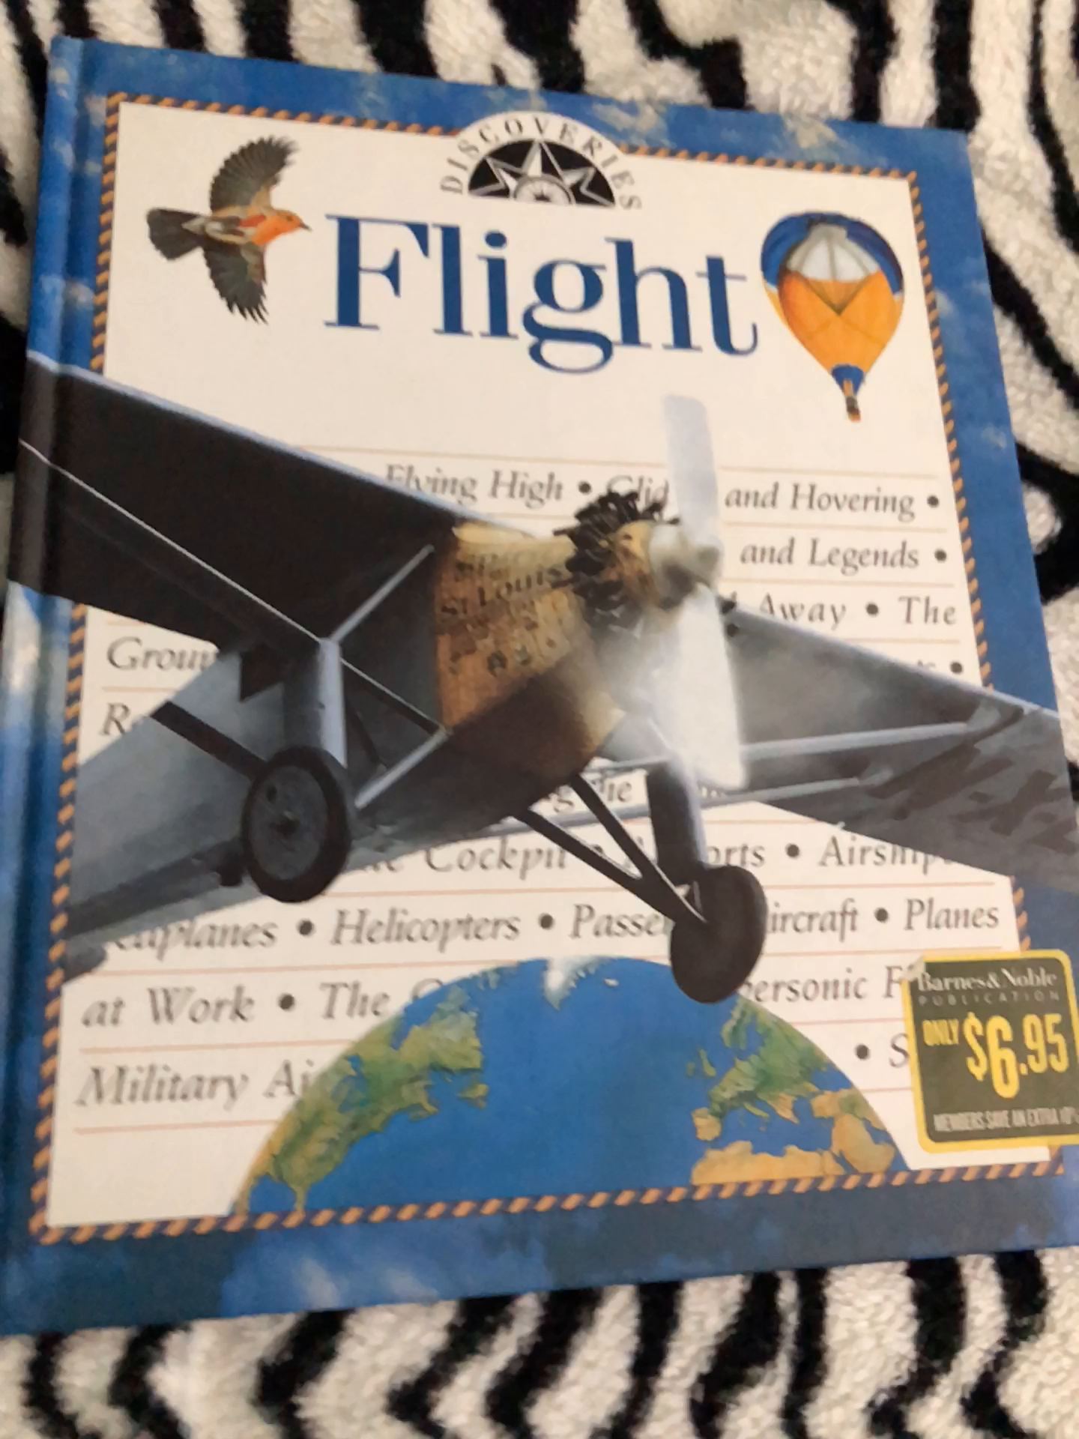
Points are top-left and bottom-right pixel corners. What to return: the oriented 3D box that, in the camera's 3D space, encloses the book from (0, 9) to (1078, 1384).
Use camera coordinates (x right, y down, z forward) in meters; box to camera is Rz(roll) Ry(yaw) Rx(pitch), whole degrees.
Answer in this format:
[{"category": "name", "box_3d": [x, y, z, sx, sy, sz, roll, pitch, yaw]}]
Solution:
[{"category": "book", "box_3d": [0.001, -0.024, 0.287, 0.259, 0.020, 0.301, 1, 74, -12]}]
